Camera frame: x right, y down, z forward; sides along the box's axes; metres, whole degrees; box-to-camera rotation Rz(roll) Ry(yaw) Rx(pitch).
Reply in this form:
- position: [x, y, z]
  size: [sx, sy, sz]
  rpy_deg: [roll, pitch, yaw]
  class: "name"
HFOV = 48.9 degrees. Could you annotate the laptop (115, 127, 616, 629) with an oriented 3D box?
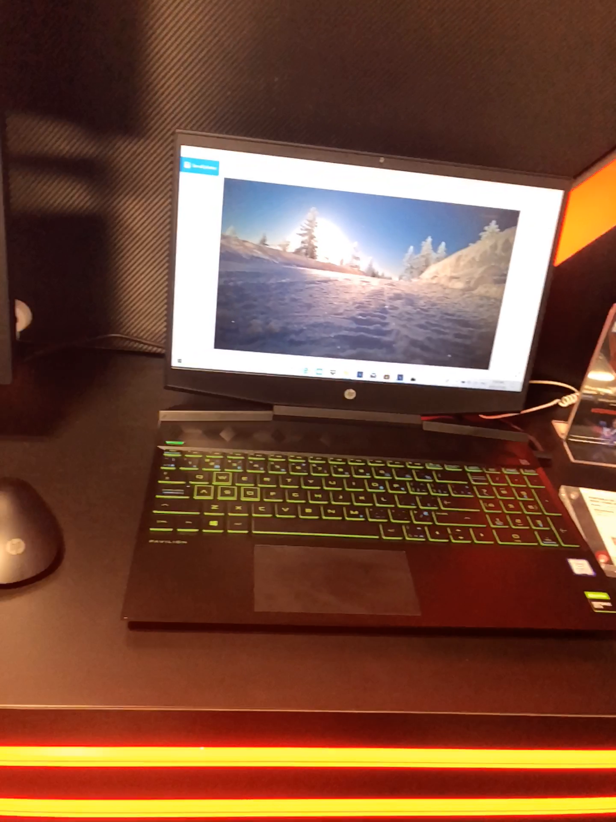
- position: [0.060, -0.047, 0.532]
  size: [0.355, 0.240, 0.316]
  rpy_deg: [4, 30, -7]
  class: "laptop"
